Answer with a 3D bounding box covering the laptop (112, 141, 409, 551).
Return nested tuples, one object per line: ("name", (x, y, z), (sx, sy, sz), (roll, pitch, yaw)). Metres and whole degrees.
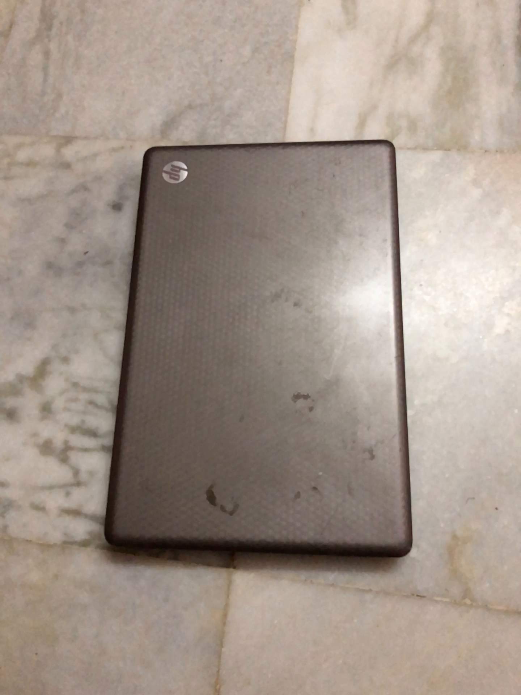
("laptop", (0.003, -0.022, 0.544), (0.252, 0.003, 0.394), (0, 73, 6))
